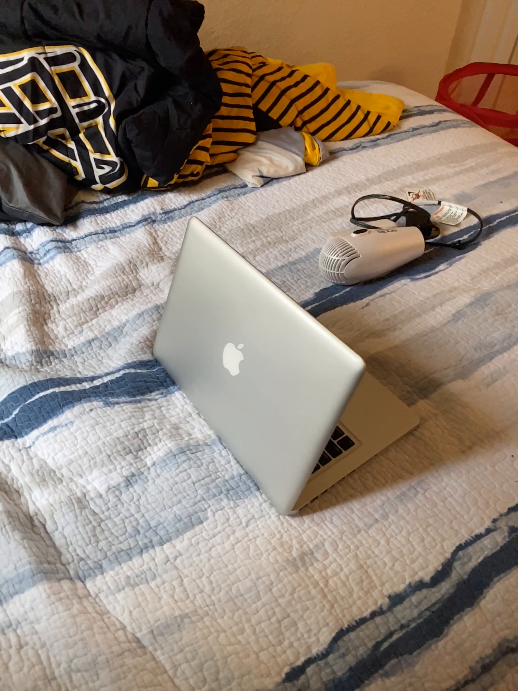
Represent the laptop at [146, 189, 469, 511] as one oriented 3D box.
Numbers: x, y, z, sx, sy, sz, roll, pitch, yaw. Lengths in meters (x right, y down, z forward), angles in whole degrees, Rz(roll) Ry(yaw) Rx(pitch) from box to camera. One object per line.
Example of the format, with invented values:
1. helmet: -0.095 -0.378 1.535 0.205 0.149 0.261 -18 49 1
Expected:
1. laptop: 0.038 -0.012 0.656 0.214 0.188 0.301 -26 52 -24
